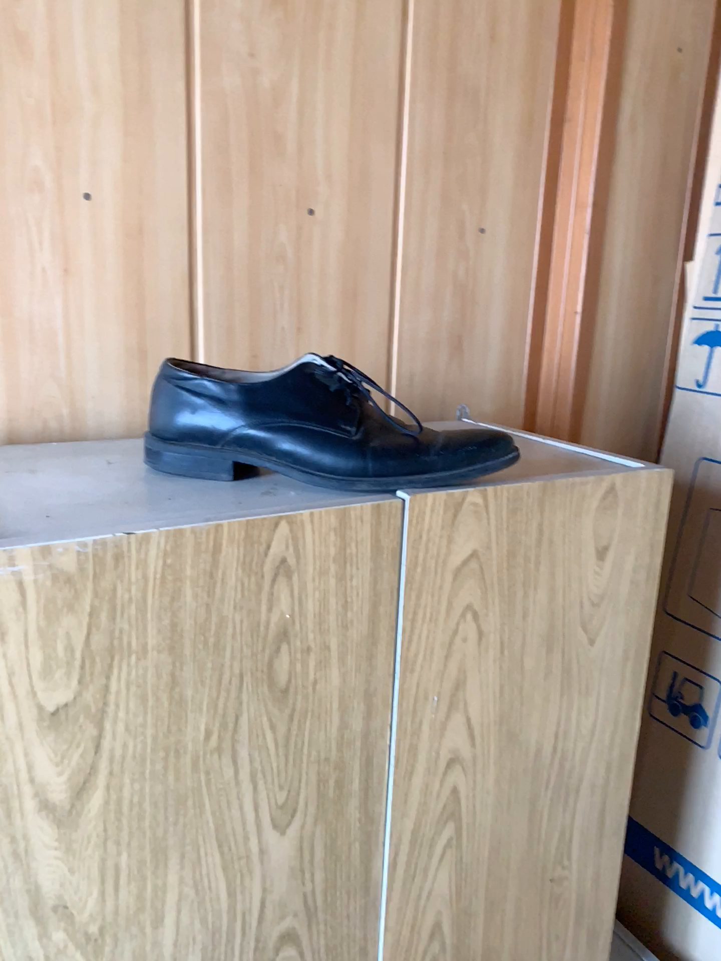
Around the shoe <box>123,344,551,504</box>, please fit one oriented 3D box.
[{"bbox_3d":[-0.015,-0.053,0.590,0.300,0.090,0.141,3,14,4],"label":"shoe"}]
